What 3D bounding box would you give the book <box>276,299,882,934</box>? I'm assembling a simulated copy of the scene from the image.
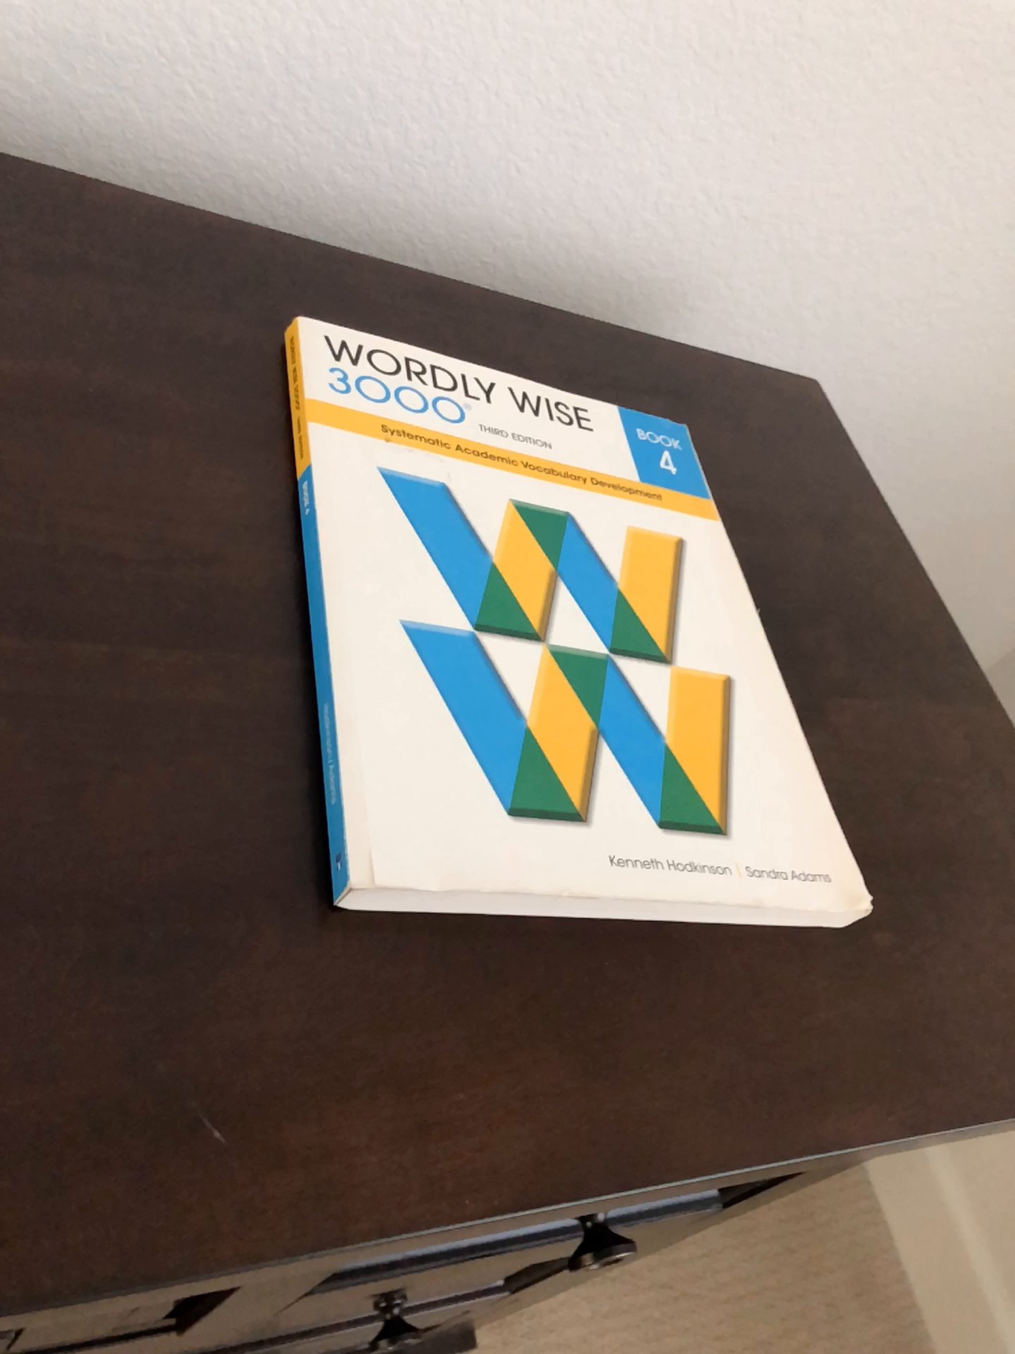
[{"bbox_3d":[0.020,-0.030,0.461,0.217,0.020,0.274,8,52,-27],"label":"book"}]
